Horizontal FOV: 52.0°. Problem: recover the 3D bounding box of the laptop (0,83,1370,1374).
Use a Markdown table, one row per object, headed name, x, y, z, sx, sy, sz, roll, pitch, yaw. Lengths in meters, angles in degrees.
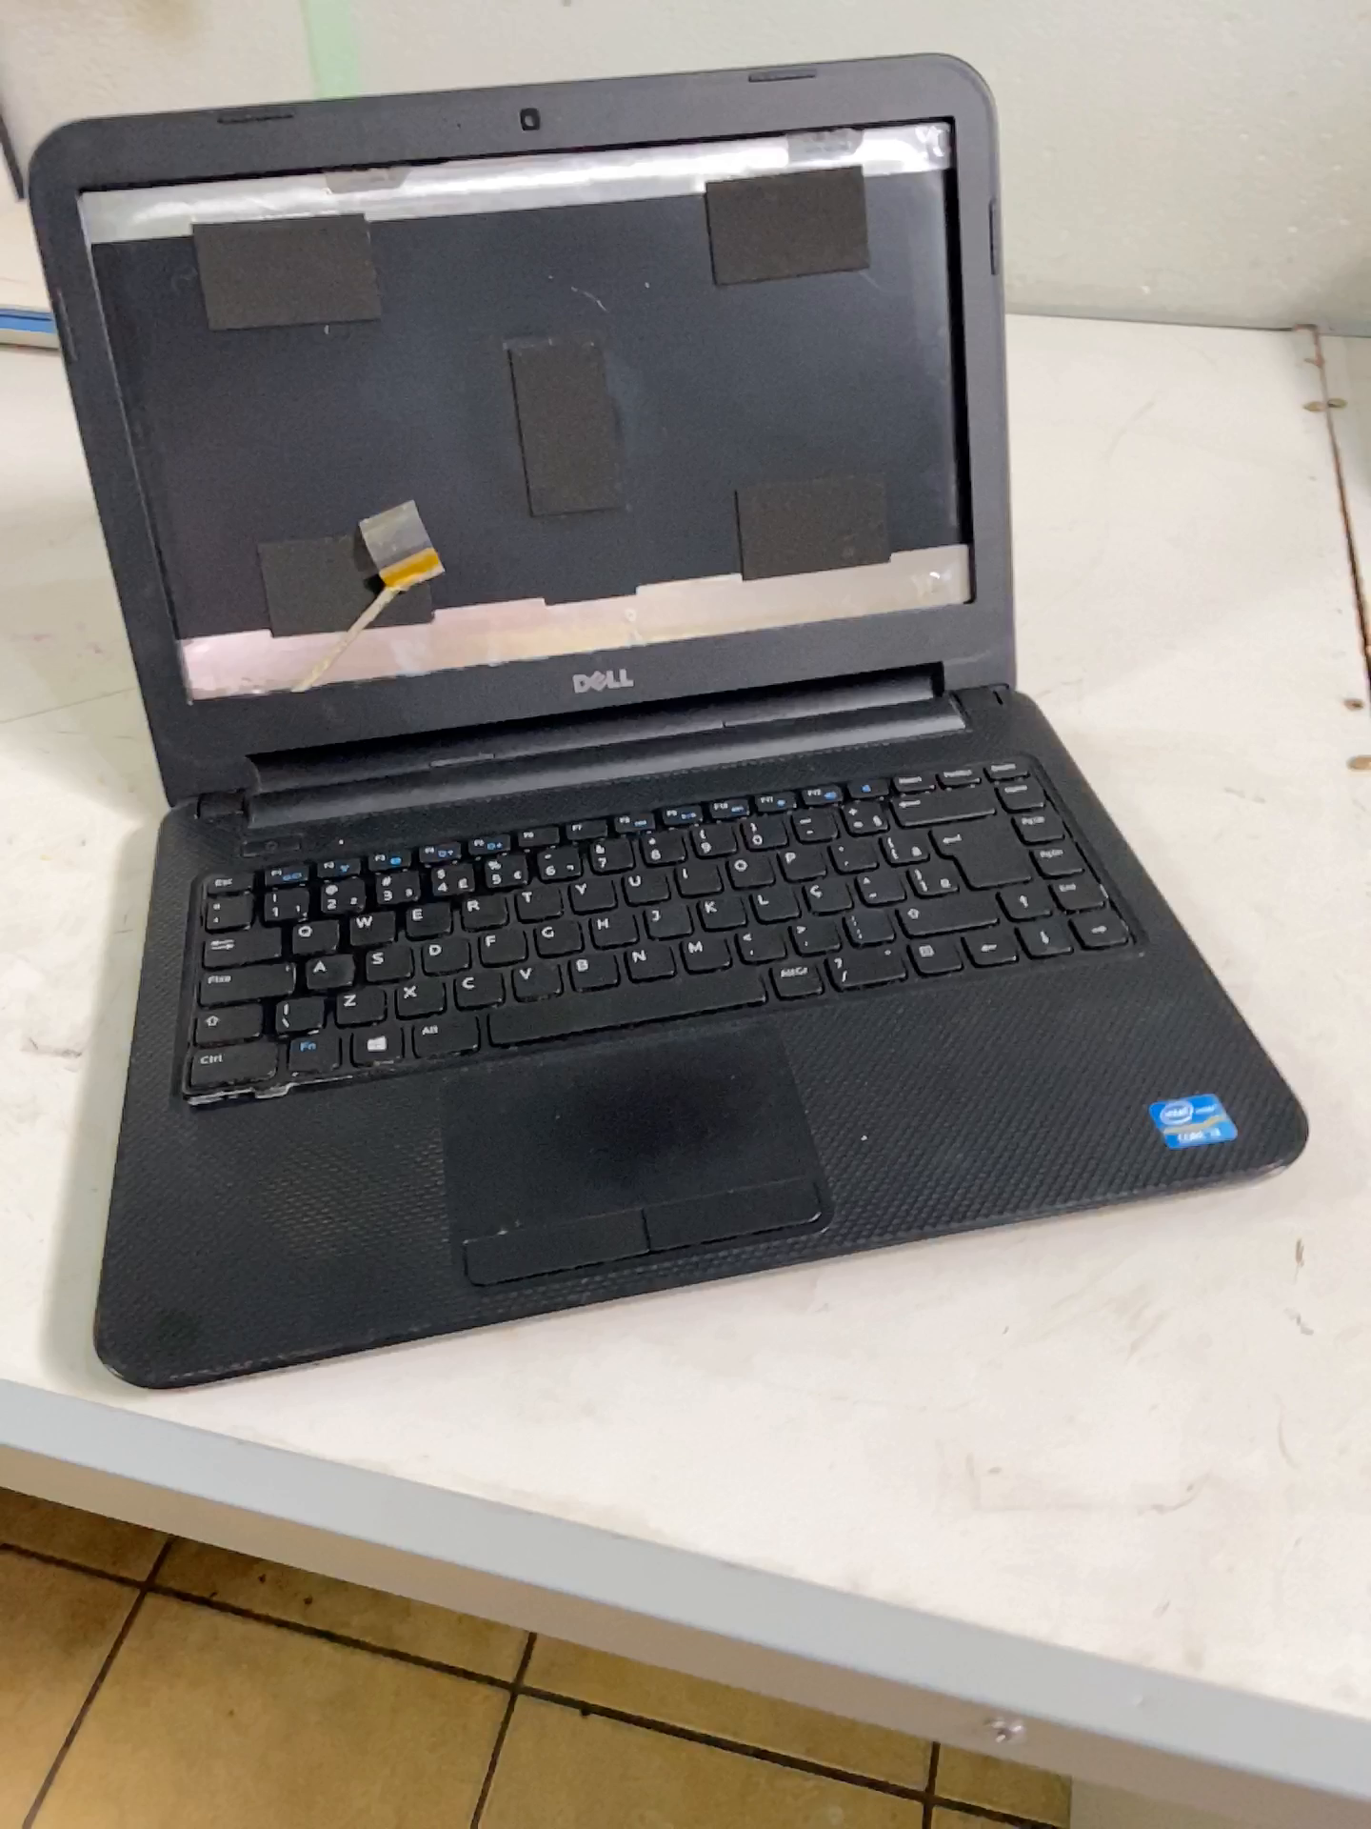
| name | x | y | z | sx | sy | sz | roll | pitch | yaw |
| --- | --- | --- | --- | --- | --- | --- | --- | --- | --- |
| laptop | -0.028 | -0.090 | 0.429 | 0.320 | 0.193 | 0.337 | -9 | 44 | -7 |
